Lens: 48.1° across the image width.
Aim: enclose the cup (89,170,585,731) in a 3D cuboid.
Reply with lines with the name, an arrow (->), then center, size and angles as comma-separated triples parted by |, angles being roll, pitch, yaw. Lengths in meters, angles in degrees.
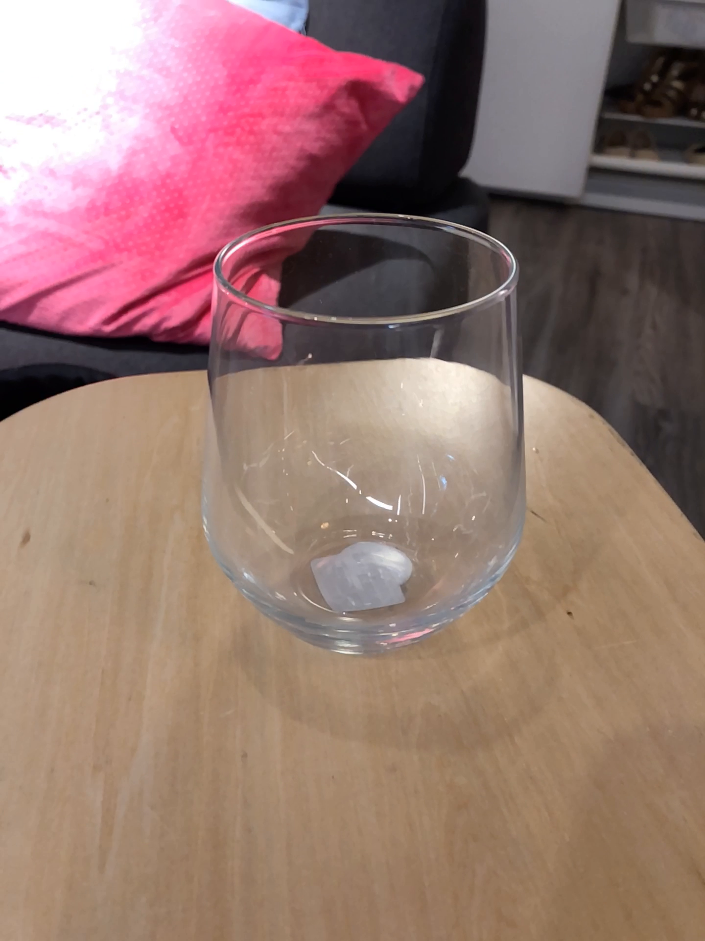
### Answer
cup -> 0.004, -0.010, 0.206 | 0.090, 0.100, 0.090 | 1, 36, -1
